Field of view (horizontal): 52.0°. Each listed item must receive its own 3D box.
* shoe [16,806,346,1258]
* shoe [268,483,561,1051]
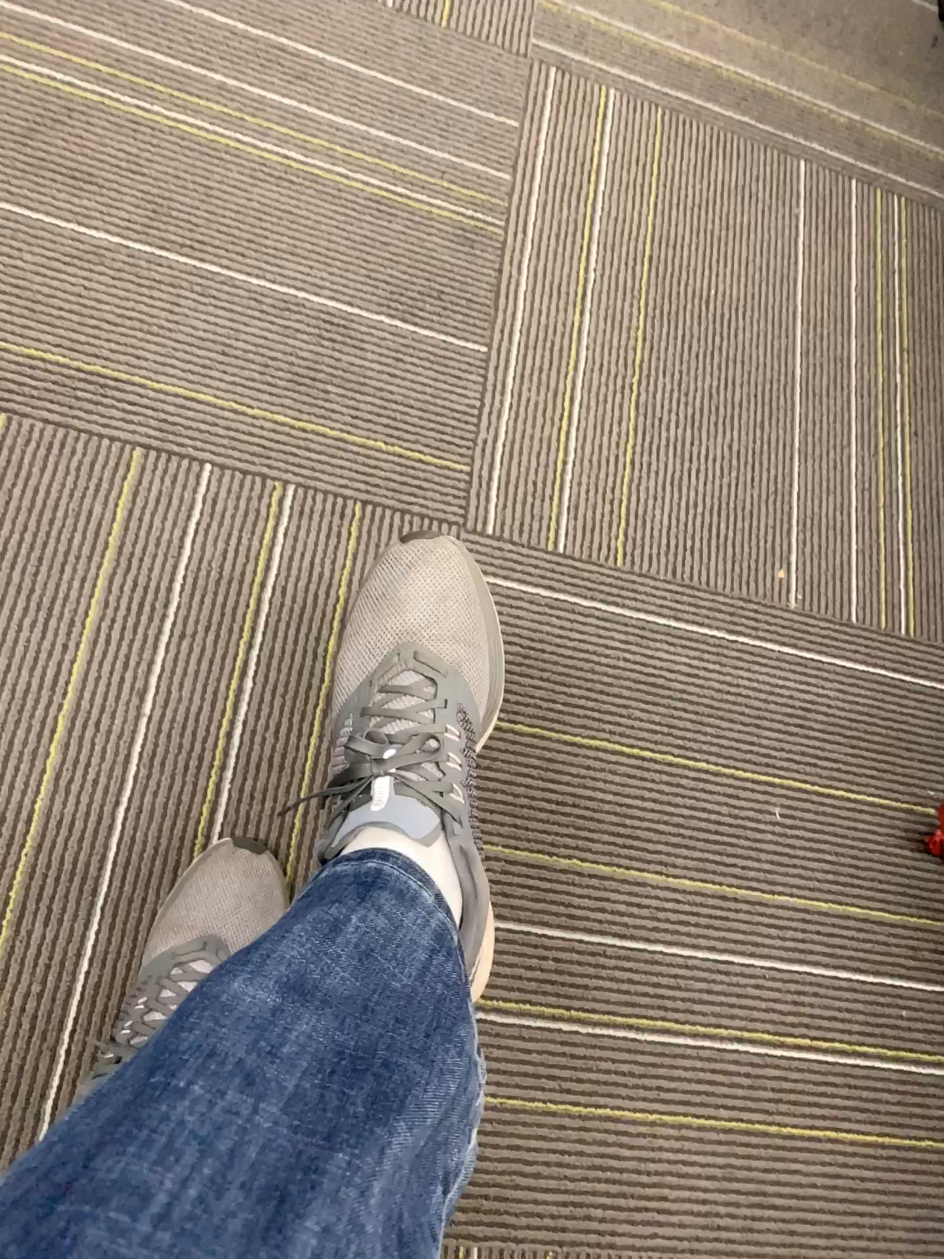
[{"bbox_3d":[-0.228,0.323,0.795,0.124,0.180,0.310,22,68,-10],"label":"shoe"},{"bbox_3d":[-0.036,0.082,0.582,0.126,0.115,0.297,-10,71,12],"label":"shoe"}]
